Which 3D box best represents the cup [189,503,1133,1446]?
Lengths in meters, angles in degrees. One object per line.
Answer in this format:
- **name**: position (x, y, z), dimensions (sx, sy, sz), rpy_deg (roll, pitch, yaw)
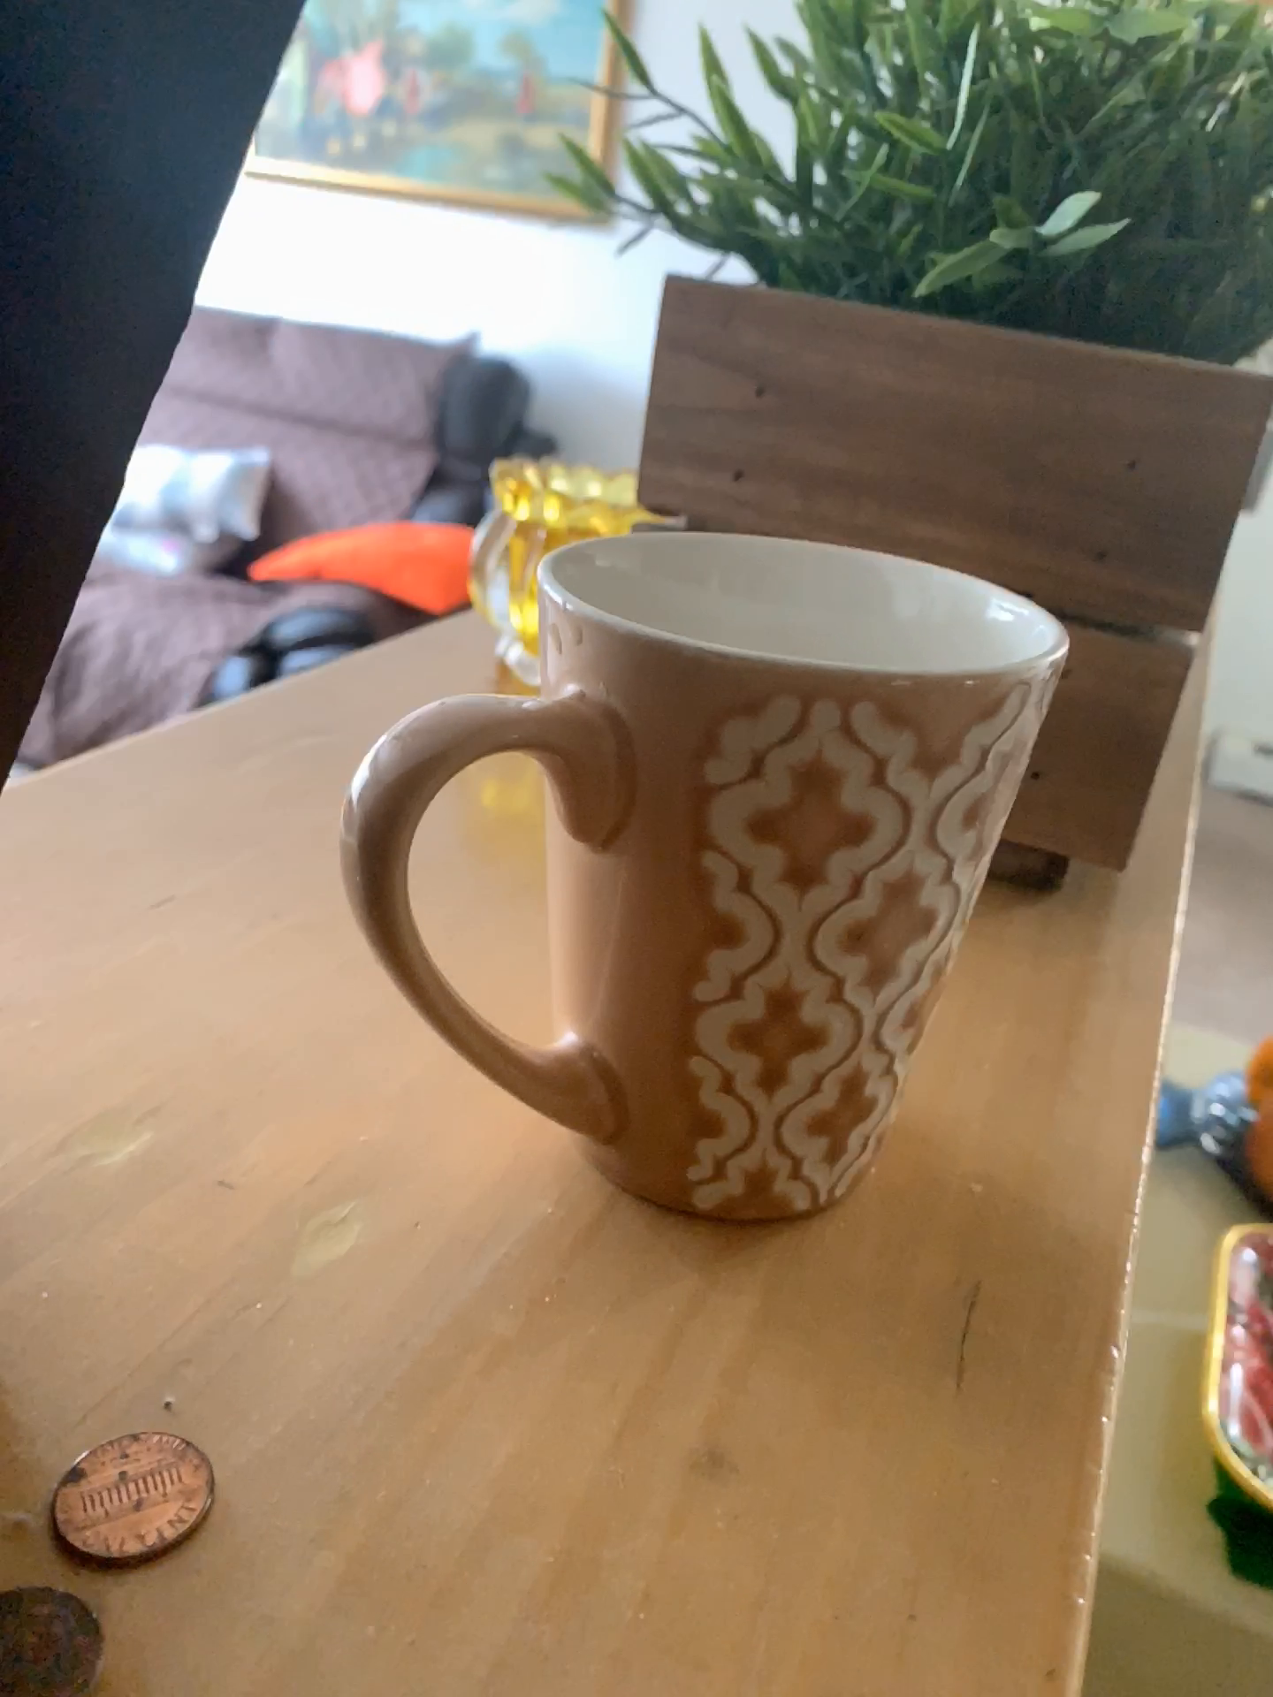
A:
- **cup**: position (-0.001, 0.006, 0.232), dimensions (0.120, 0.109, 0.090), rpy_deg (-12, 31, -37)
